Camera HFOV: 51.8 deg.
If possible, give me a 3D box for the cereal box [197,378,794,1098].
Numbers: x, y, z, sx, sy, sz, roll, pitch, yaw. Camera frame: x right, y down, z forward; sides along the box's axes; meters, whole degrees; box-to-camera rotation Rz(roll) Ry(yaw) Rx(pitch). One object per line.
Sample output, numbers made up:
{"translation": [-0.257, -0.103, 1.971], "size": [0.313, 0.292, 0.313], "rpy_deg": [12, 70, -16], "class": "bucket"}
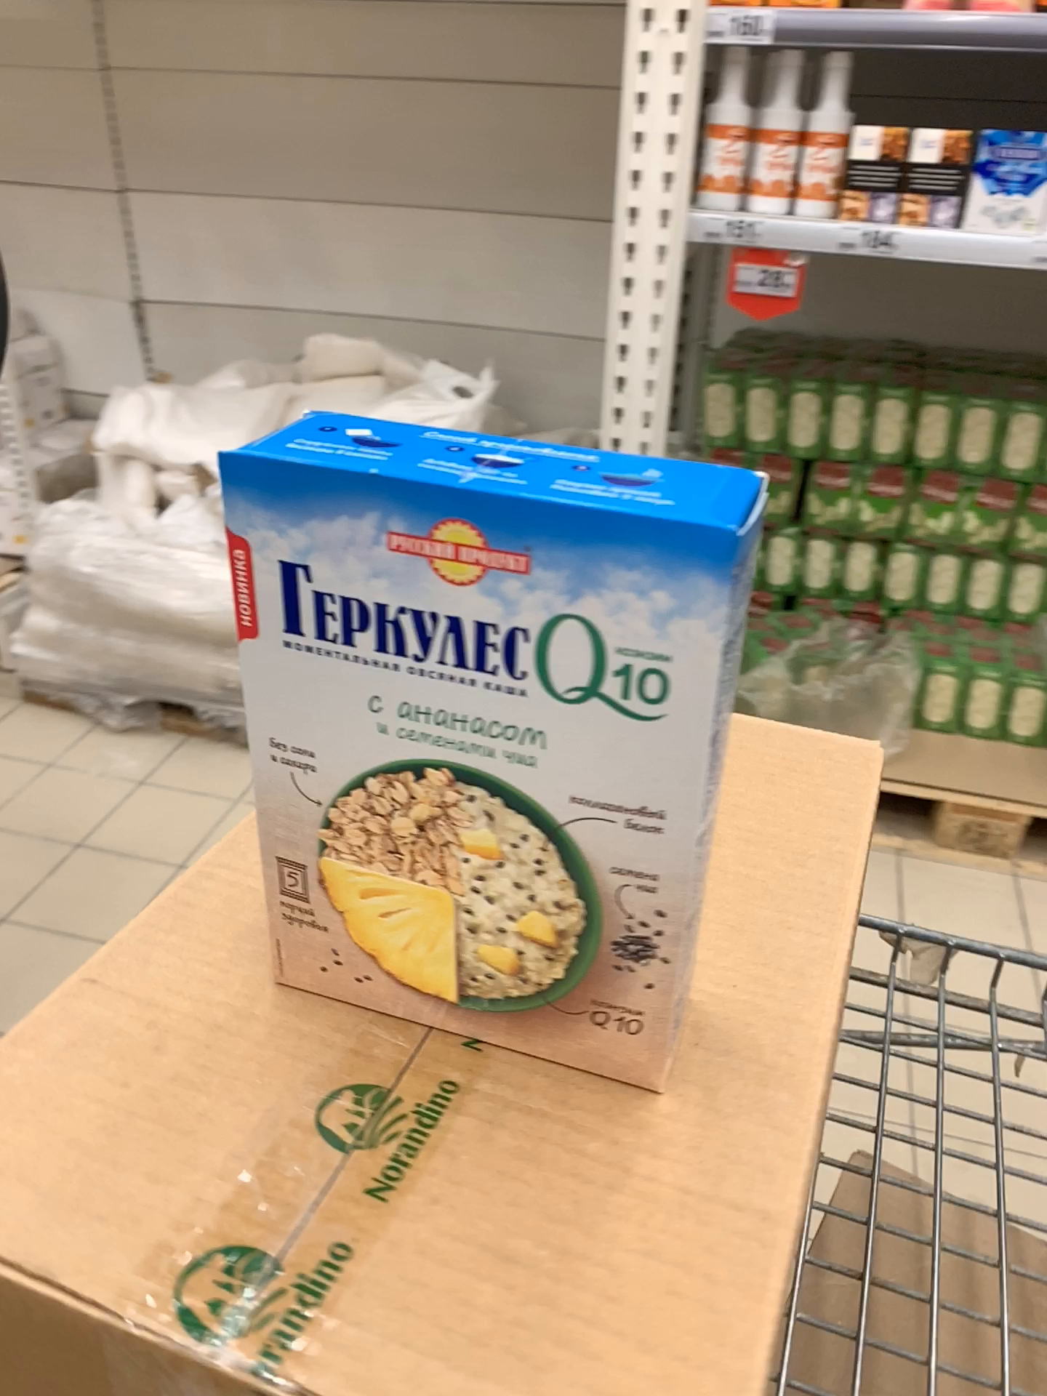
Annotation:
{"translation": [-0.010, 0.015, 0.335], "size": [0.150, 0.199, 0.050], "rpy_deg": [11, 31, 15], "class": "cereal box"}
